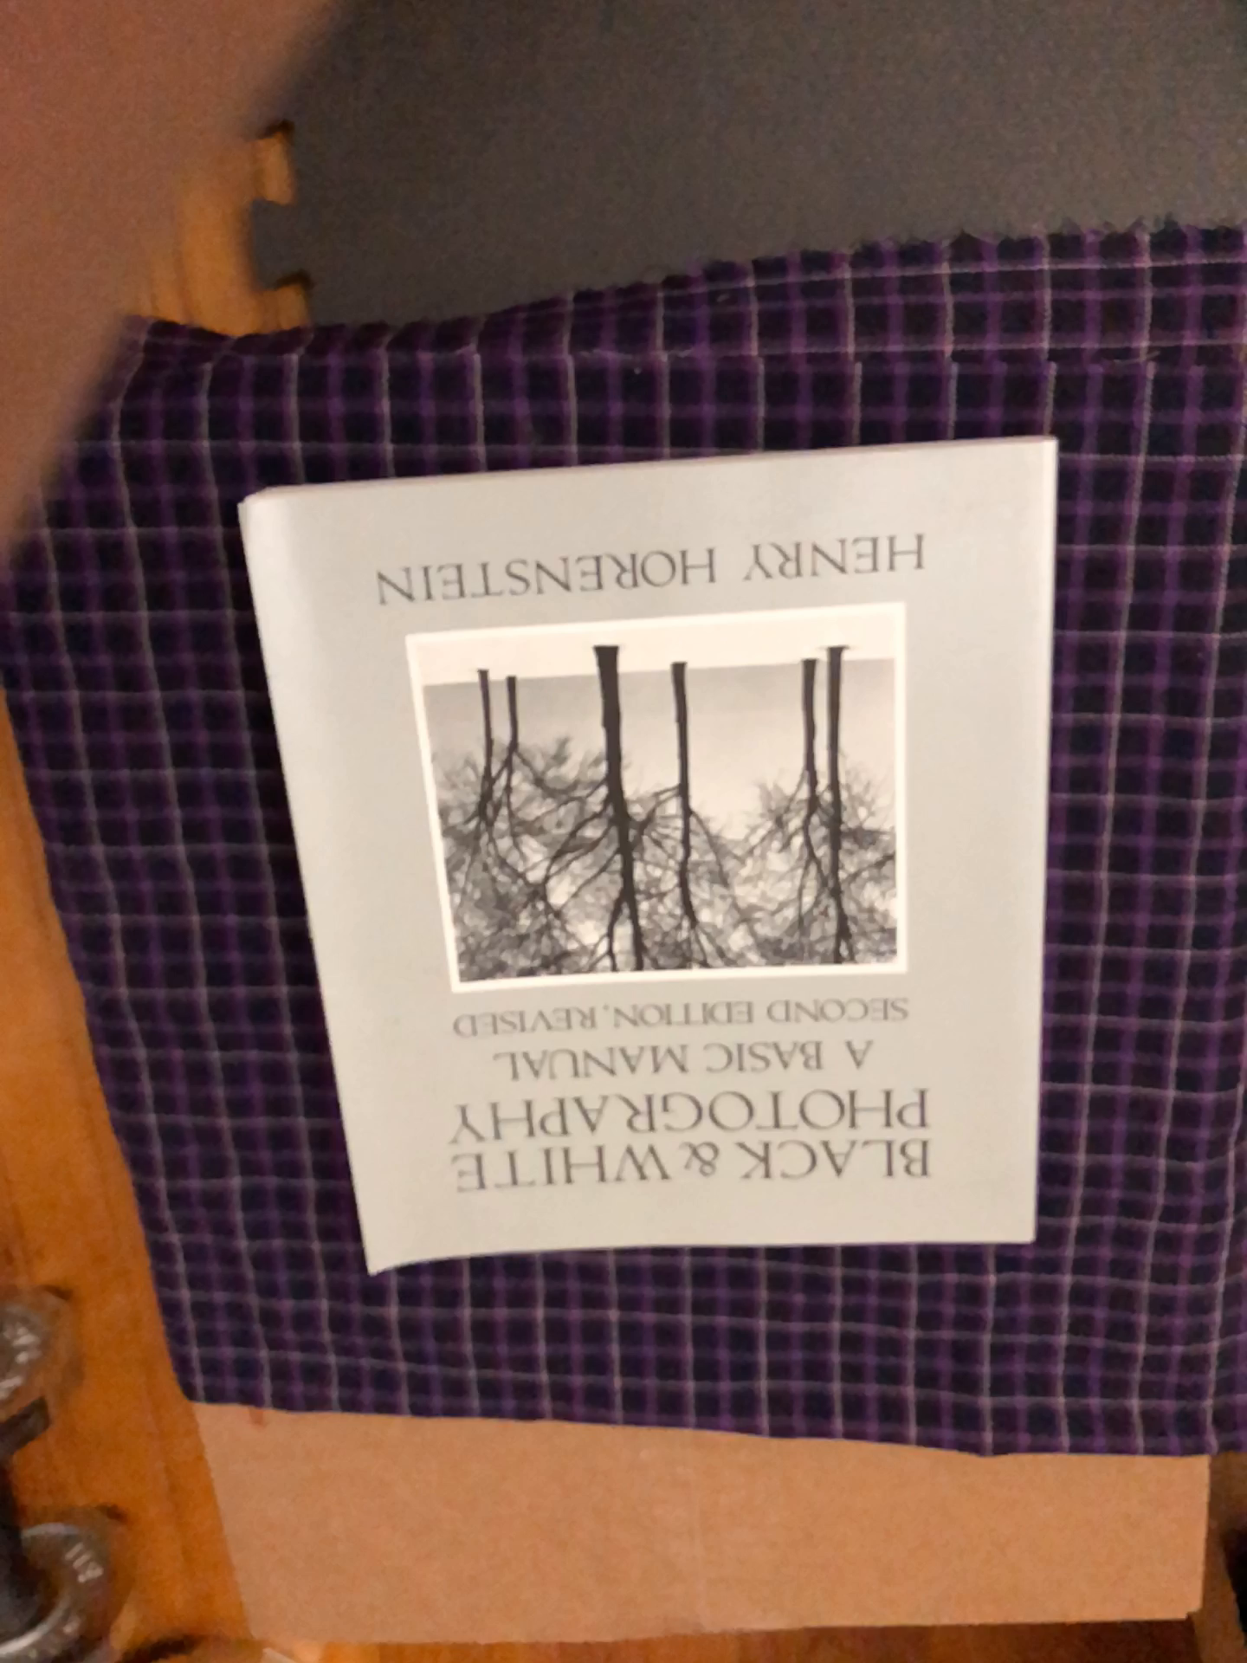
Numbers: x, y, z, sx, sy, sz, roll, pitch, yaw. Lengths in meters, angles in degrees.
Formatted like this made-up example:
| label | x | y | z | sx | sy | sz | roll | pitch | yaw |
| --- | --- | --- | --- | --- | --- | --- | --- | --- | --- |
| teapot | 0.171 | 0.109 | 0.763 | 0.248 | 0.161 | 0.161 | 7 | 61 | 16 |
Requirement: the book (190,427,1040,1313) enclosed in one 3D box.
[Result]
| label | x | y | z | sx | sy | sz | roll | pitch | yaw |
| --- | --- | --- | --- | --- | --- | --- | --- | --- | --- |
| book | 0.005 | 0.023 | 0.397 | 0.210 | 0.030 | 0.250 | -3 | 109 | 5 |
